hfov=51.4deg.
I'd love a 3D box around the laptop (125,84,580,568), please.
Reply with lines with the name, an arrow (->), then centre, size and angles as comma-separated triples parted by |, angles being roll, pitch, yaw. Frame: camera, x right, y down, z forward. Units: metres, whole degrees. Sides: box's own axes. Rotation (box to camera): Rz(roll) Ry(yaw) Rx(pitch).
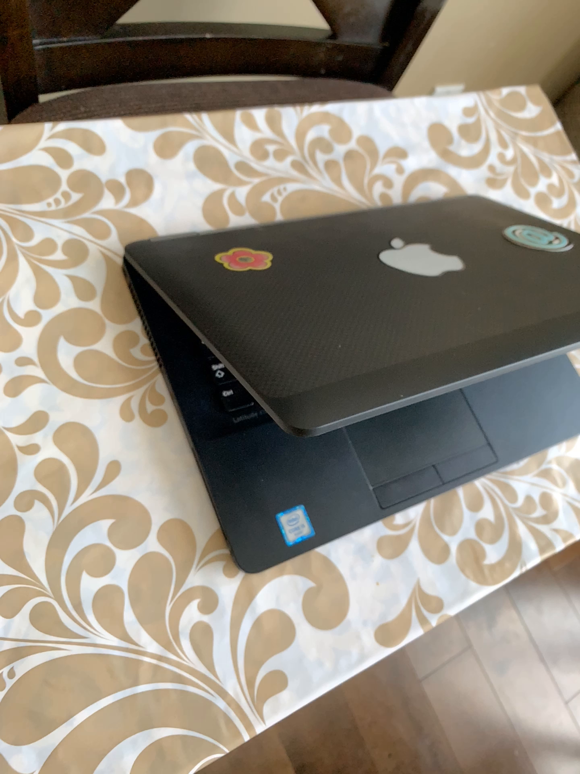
laptop -> 0.088, -0.053, 0.358 | 0.301, 0.127, 0.199 | -15, 73, -27
